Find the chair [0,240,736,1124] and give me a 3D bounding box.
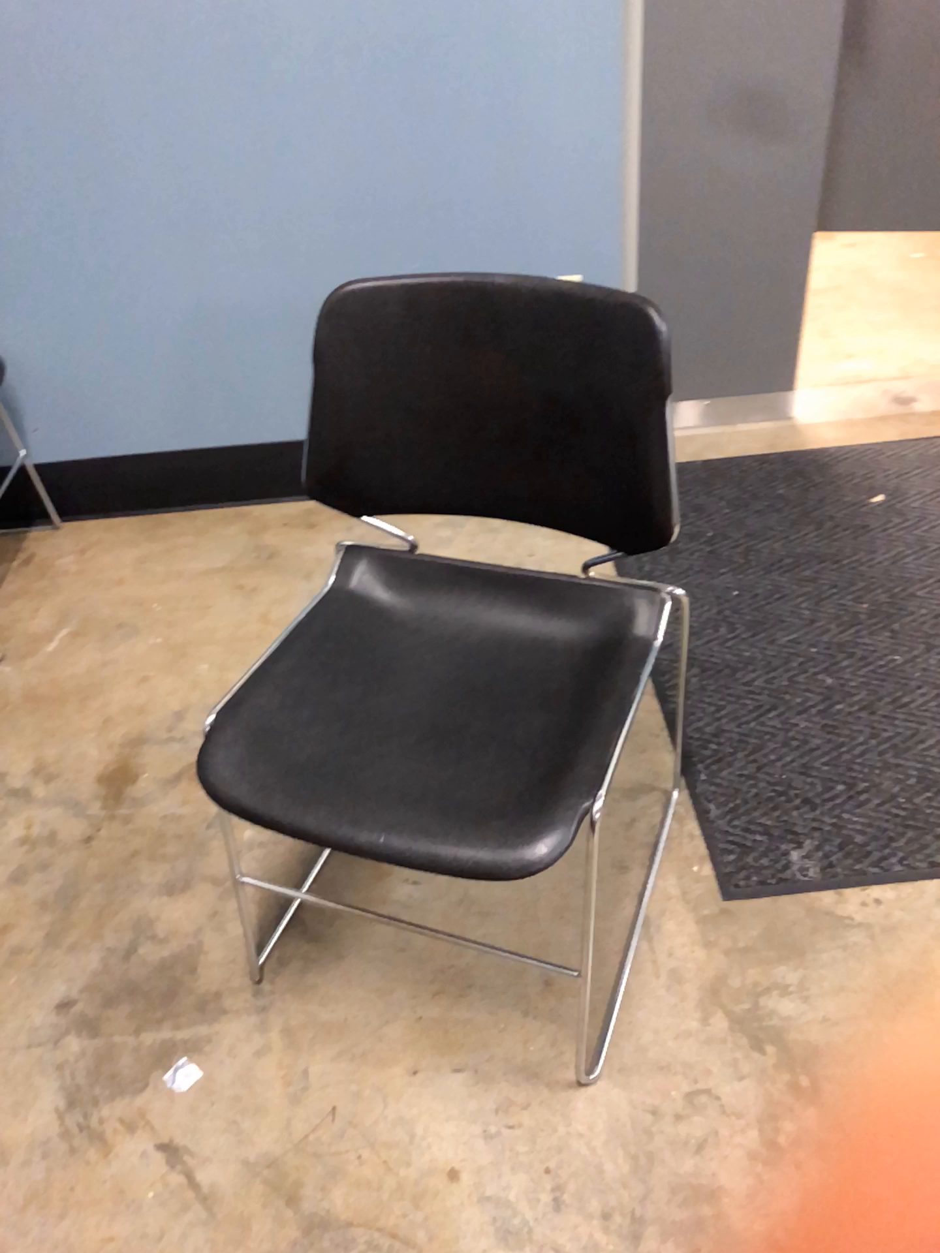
[{"bbox_3d":[-0.032,0.043,1.189,0.524,0.765,0.552,9,40,18],"label":"chair"}]
